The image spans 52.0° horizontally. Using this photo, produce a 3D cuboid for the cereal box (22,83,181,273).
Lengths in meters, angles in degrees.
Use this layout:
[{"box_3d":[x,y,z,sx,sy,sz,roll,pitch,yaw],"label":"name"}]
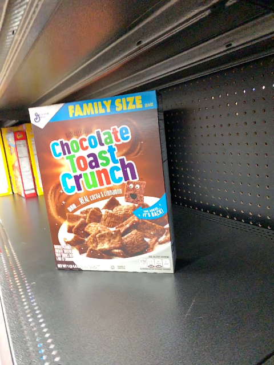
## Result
[{"box_3d":[-0.059,0.004,0.525,0.240,0.319,0.070,-5,11,16],"label":"cereal box"}]
